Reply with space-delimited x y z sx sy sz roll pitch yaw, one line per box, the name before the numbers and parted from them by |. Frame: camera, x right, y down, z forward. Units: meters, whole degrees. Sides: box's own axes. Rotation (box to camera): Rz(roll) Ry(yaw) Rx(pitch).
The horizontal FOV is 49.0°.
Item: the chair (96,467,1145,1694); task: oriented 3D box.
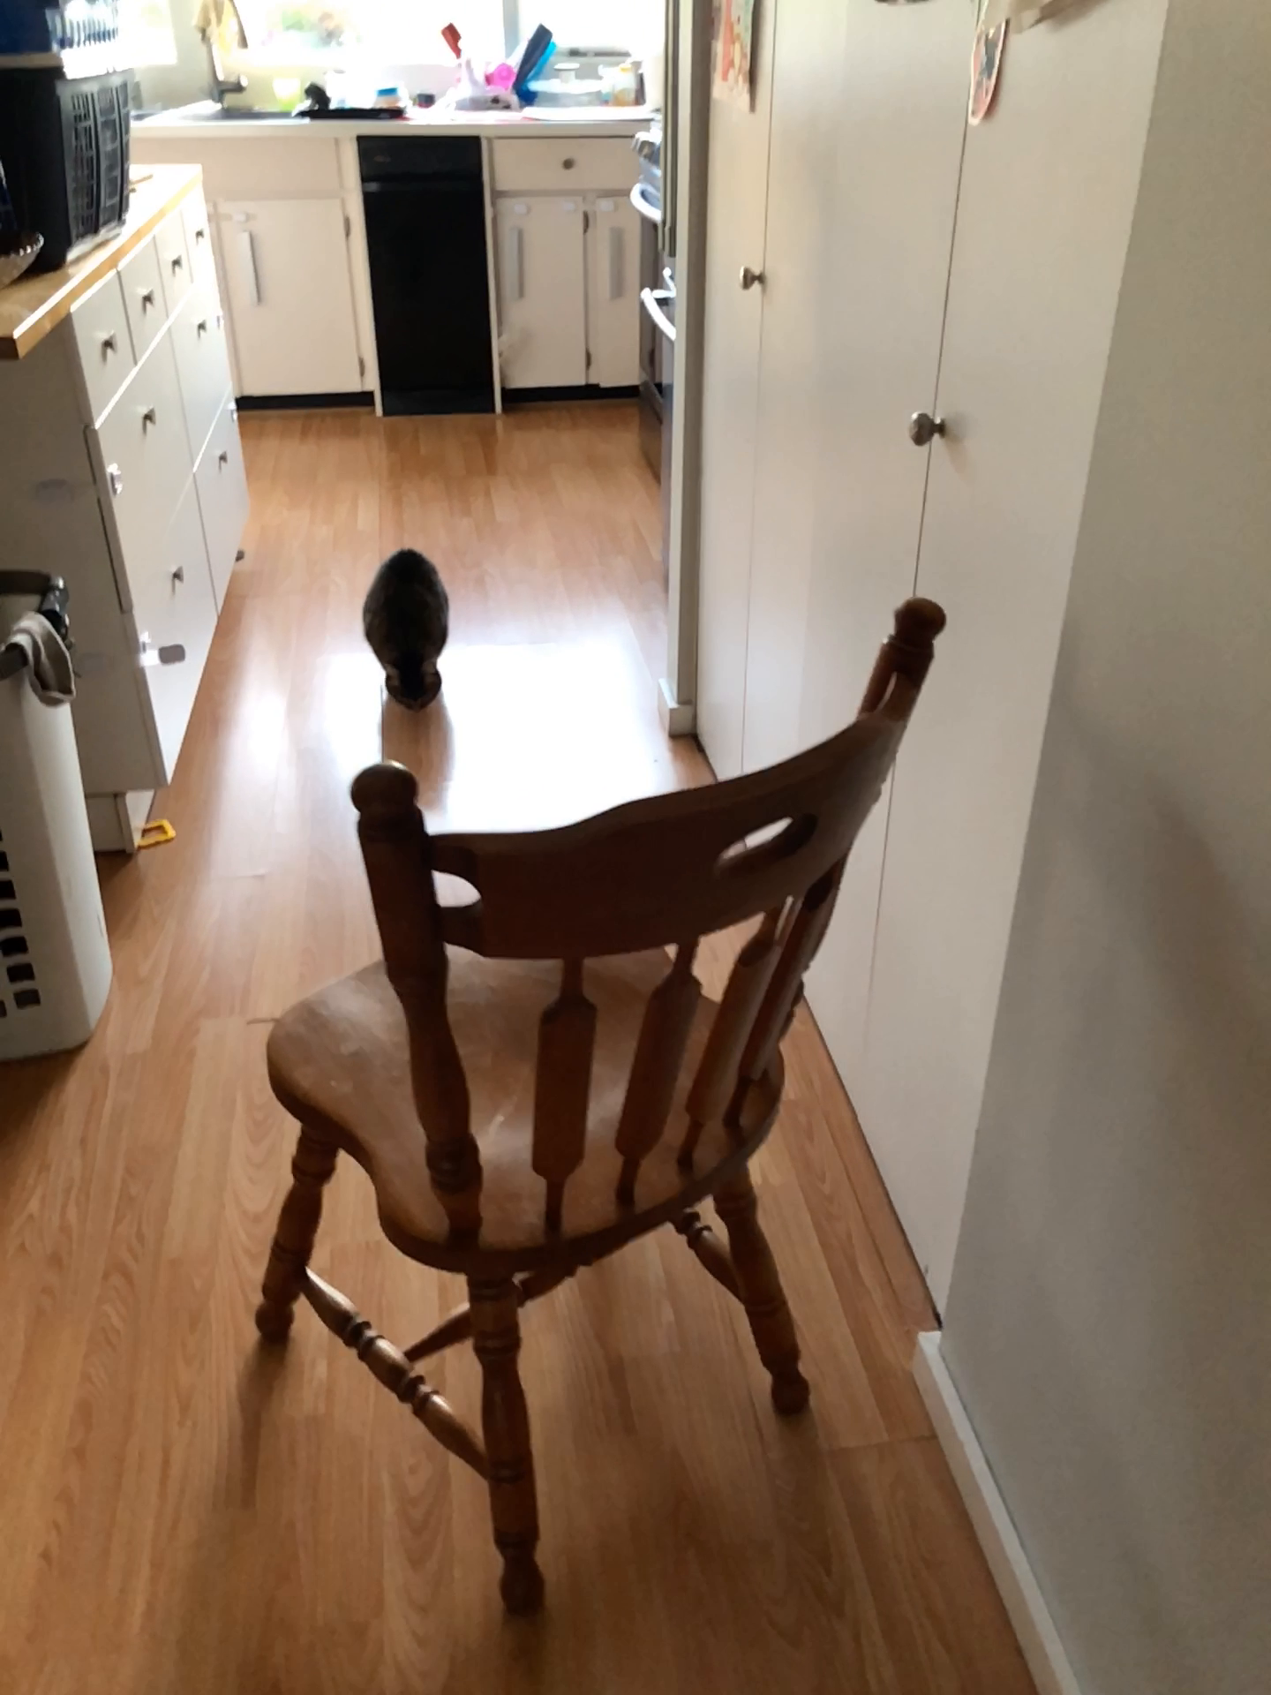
chair | -0.032 0.176 1.281 0.561 0.817 0.591 -22 38 -31
